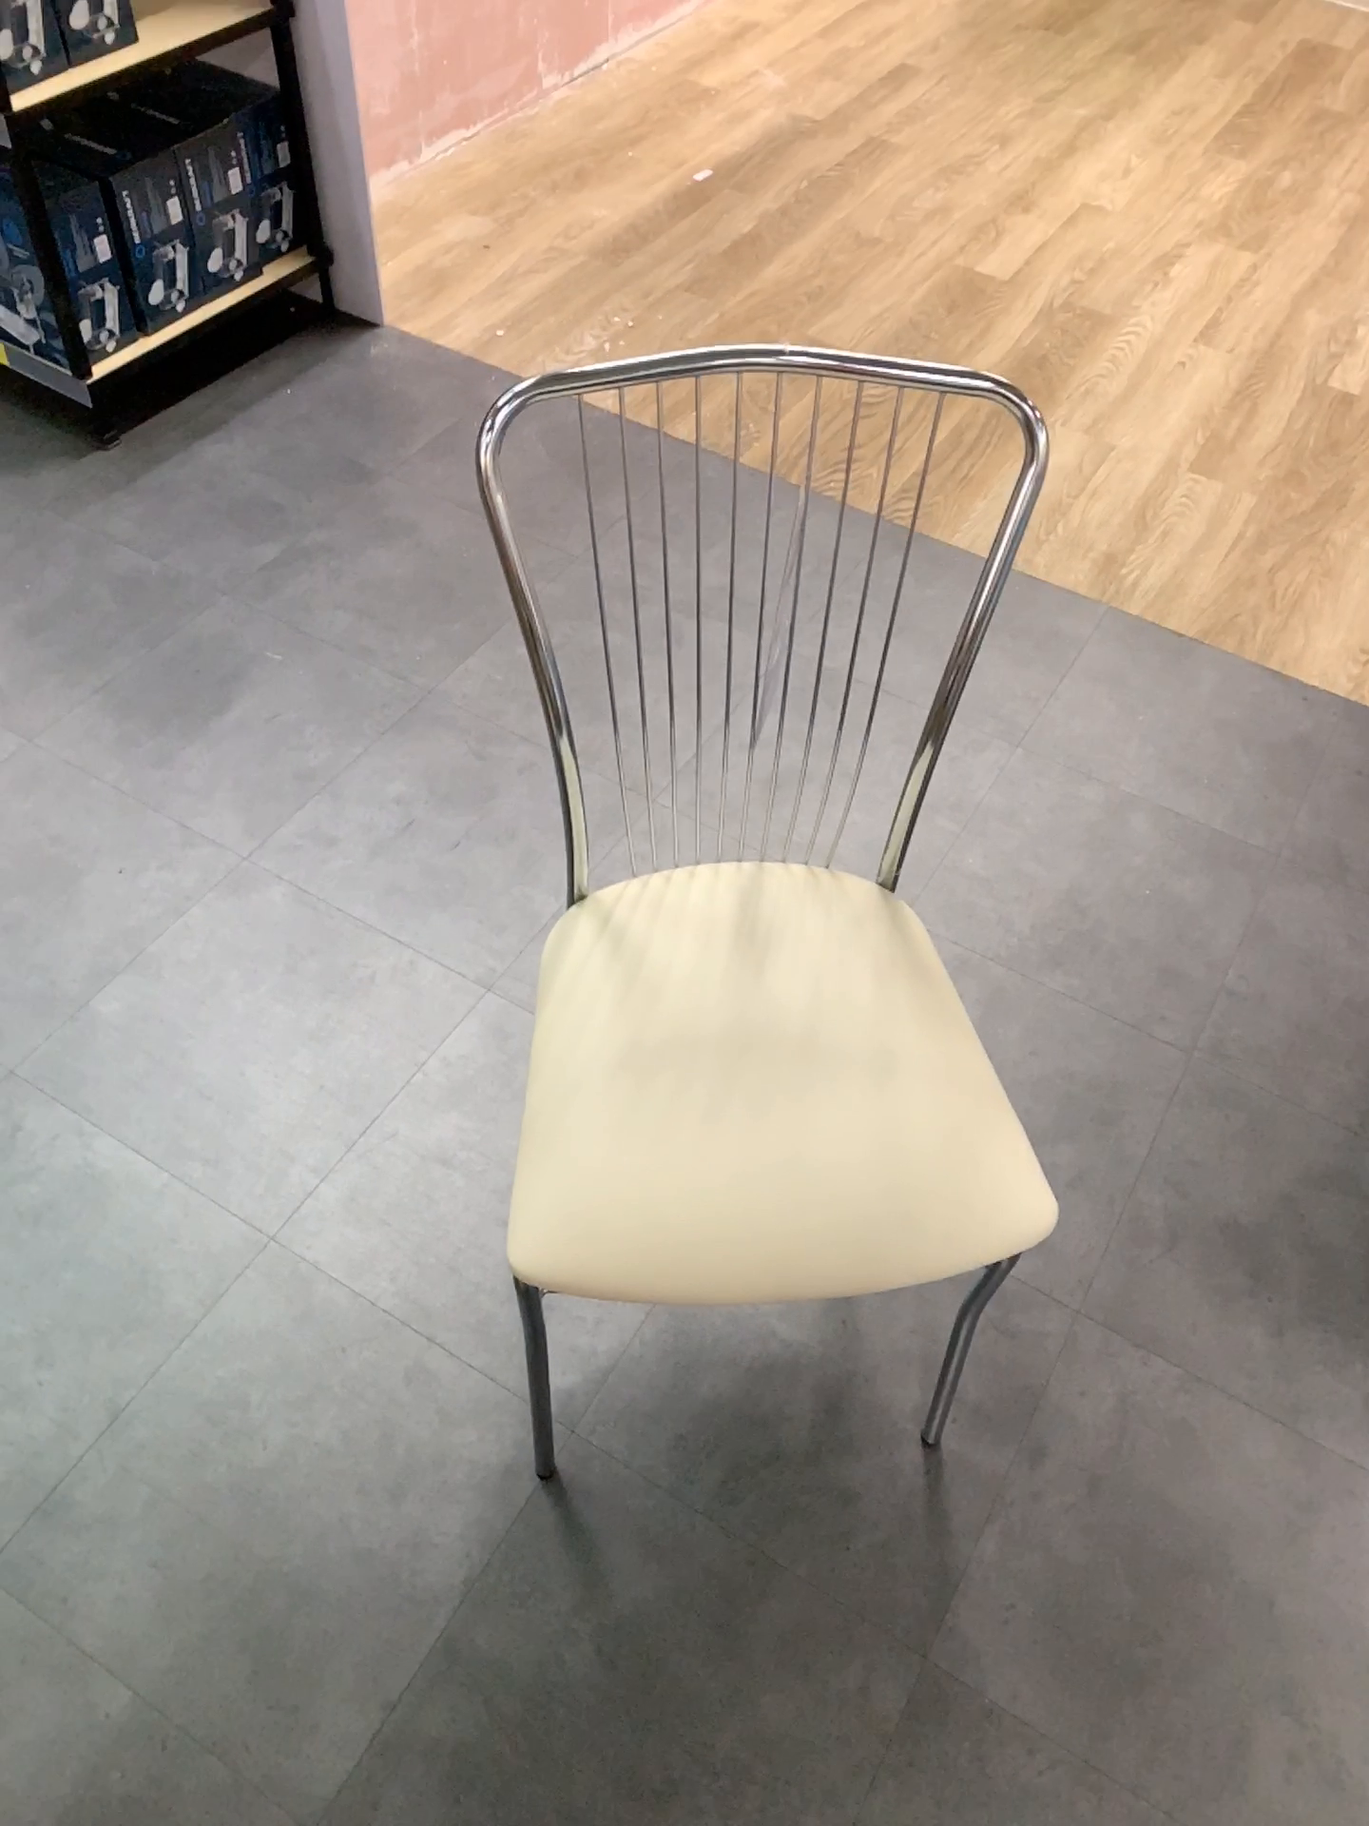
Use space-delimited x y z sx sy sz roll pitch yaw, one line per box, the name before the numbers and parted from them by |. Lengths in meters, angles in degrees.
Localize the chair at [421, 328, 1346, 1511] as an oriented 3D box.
chair | 0.060 0.087 1.249 0.472 0.966 0.554 -1 51 -5
